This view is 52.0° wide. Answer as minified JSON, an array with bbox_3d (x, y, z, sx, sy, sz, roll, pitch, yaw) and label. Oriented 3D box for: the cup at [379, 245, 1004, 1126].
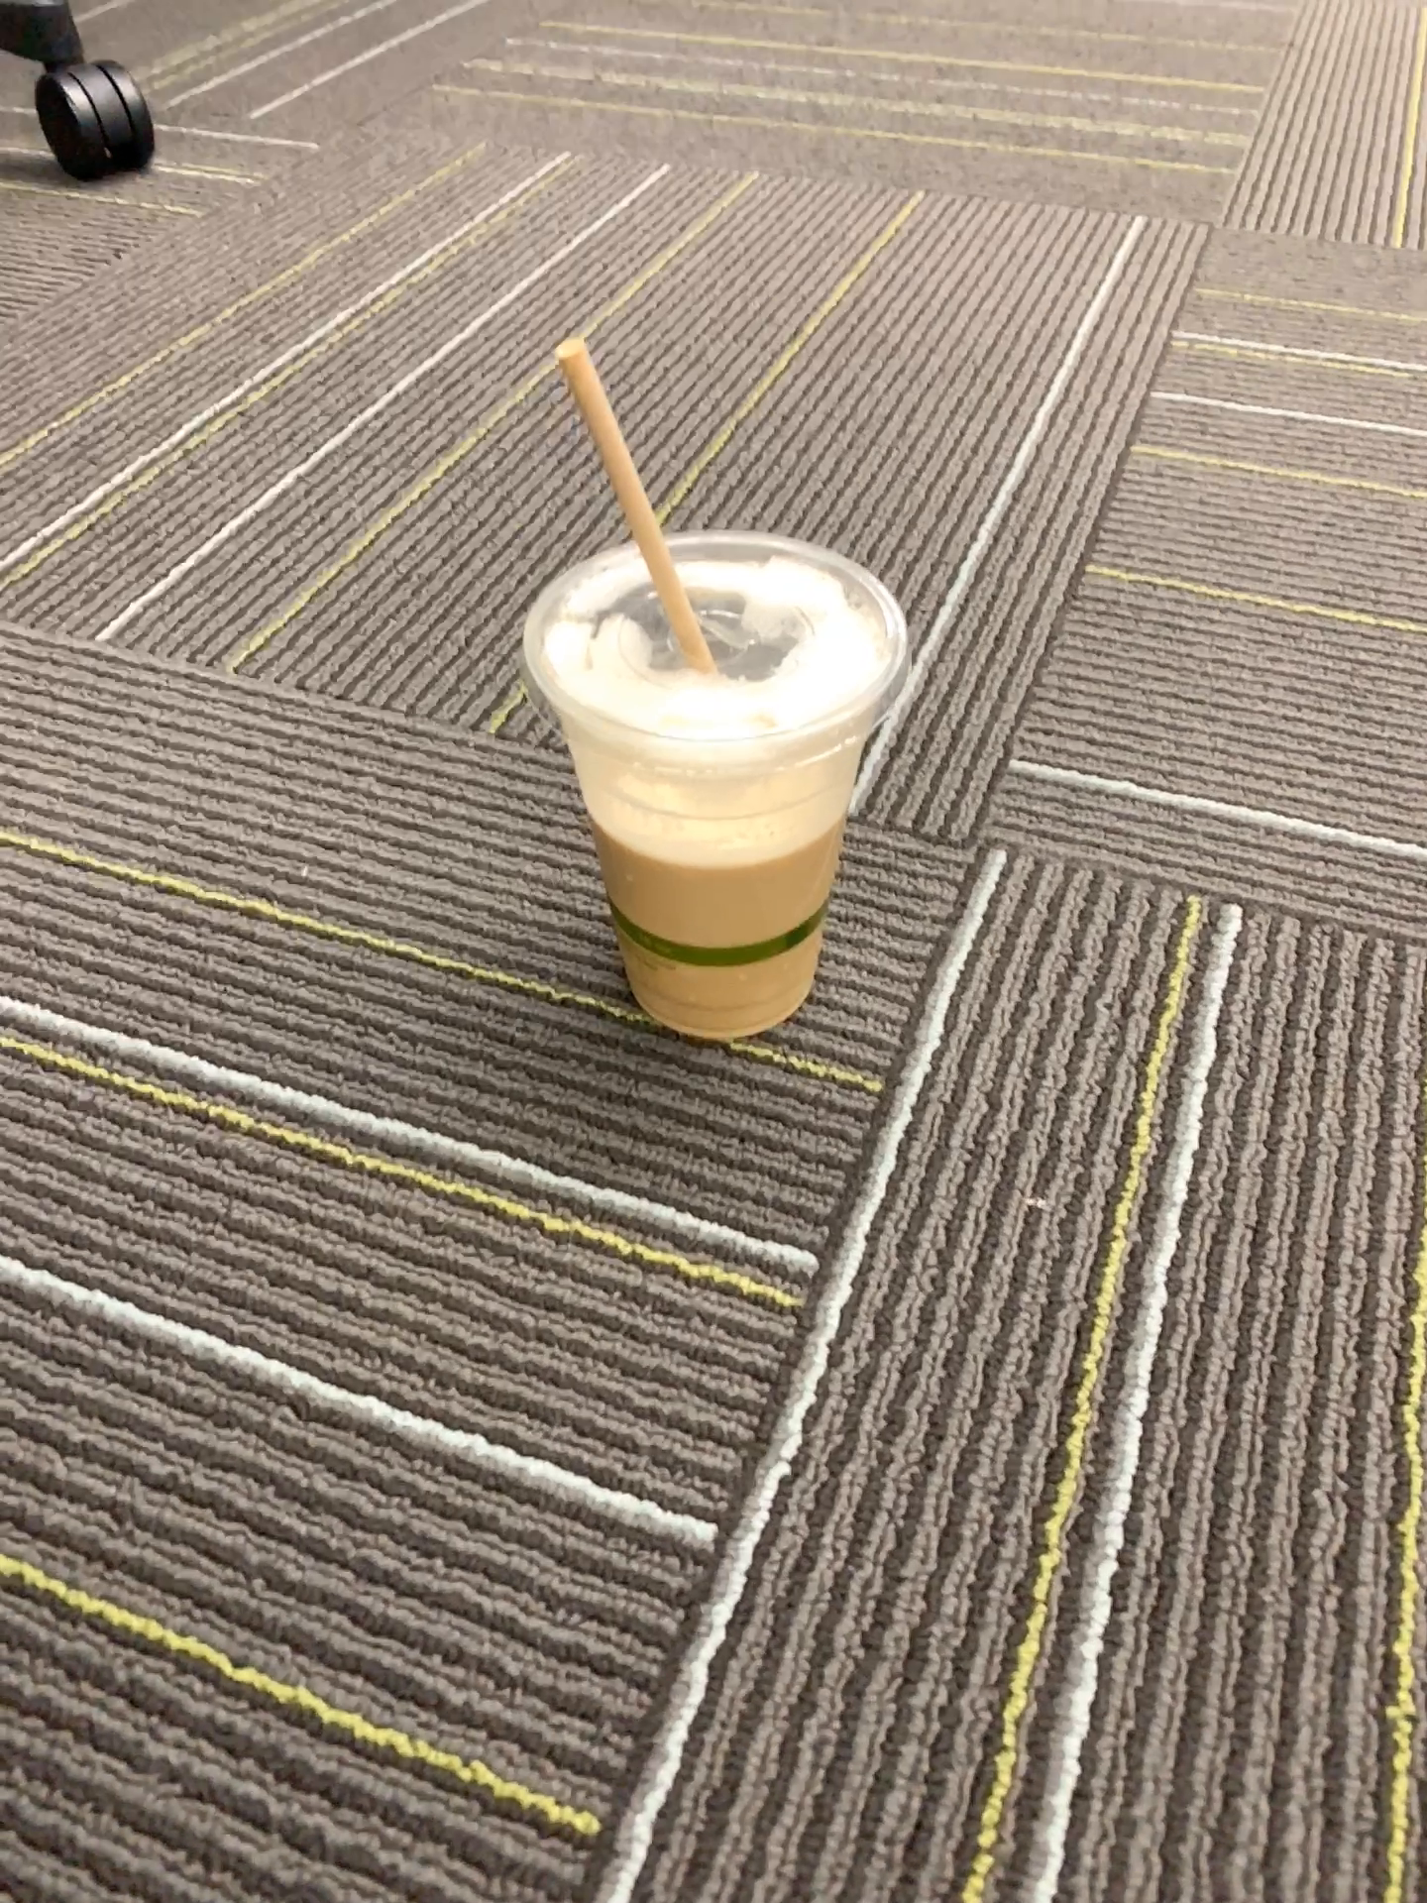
[{"bbox_3d":[-0.003,-0.064,0.377,0.100,0.179,0.090,-32,52,-27],"label":"cup"}]
